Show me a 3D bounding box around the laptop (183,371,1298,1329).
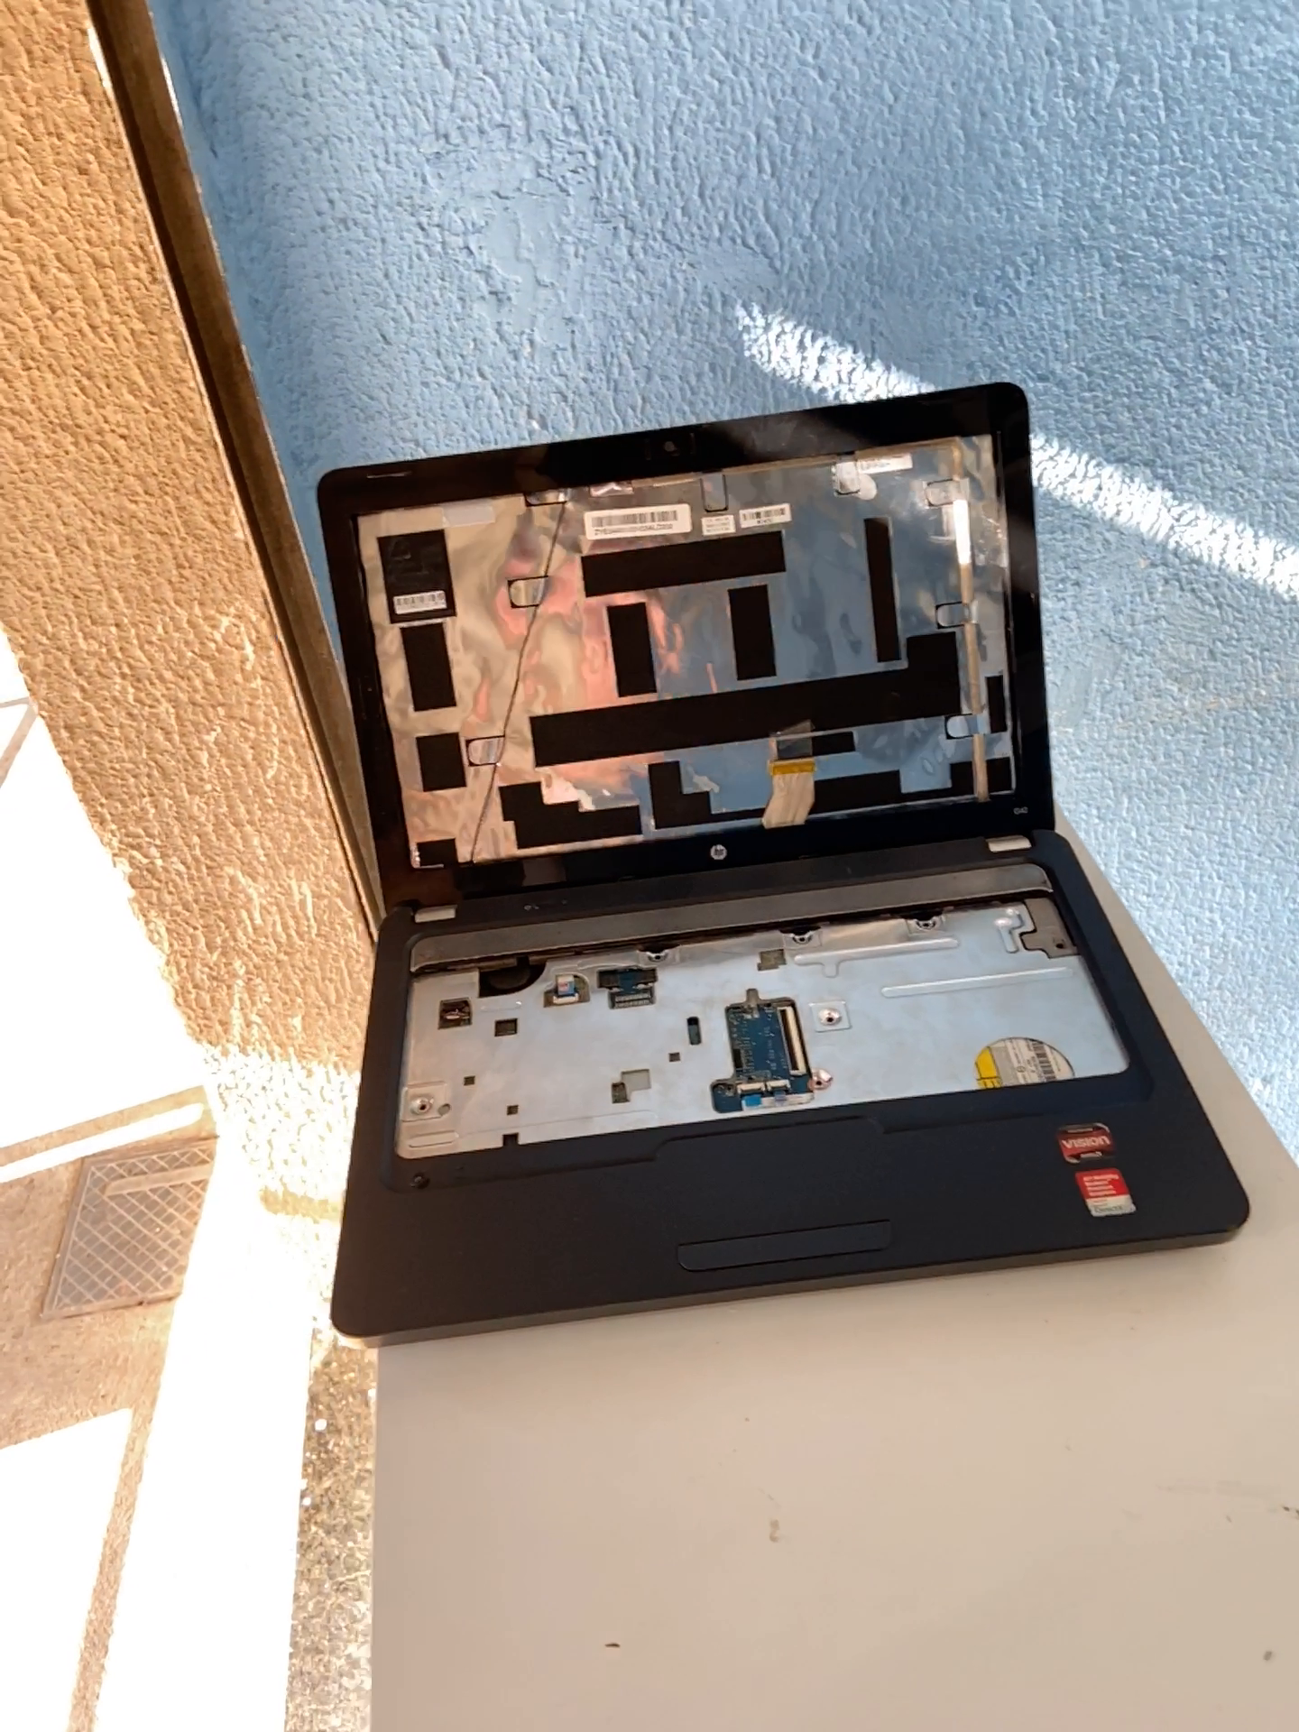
[{"bbox_3d":[0.029,-0.033,0.563,0.338,0.179,0.351,-7,41,0],"label":"laptop"}]
